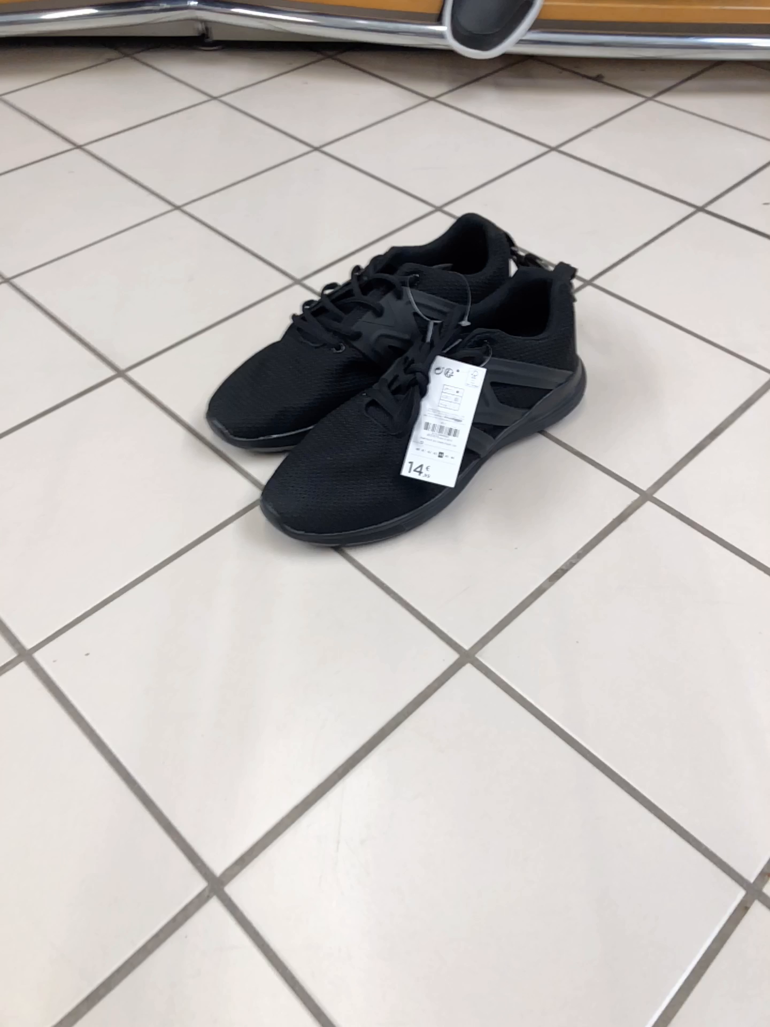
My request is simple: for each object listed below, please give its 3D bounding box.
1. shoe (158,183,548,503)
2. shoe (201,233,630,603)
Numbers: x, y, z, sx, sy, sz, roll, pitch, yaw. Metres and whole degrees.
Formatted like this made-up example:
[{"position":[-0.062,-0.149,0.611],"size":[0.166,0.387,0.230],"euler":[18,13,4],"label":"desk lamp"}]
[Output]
[{"position":[-0.014,-0.150,0.693],"size":[0.311,0.109,0.100],"euler":[-34,56,-27],"label":"shoe"},{"position":[0.033,-0.082,0.621],"size":[0.311,0.109,0.100],"euler":[-34,56,-27],"label":"shoe"}]
